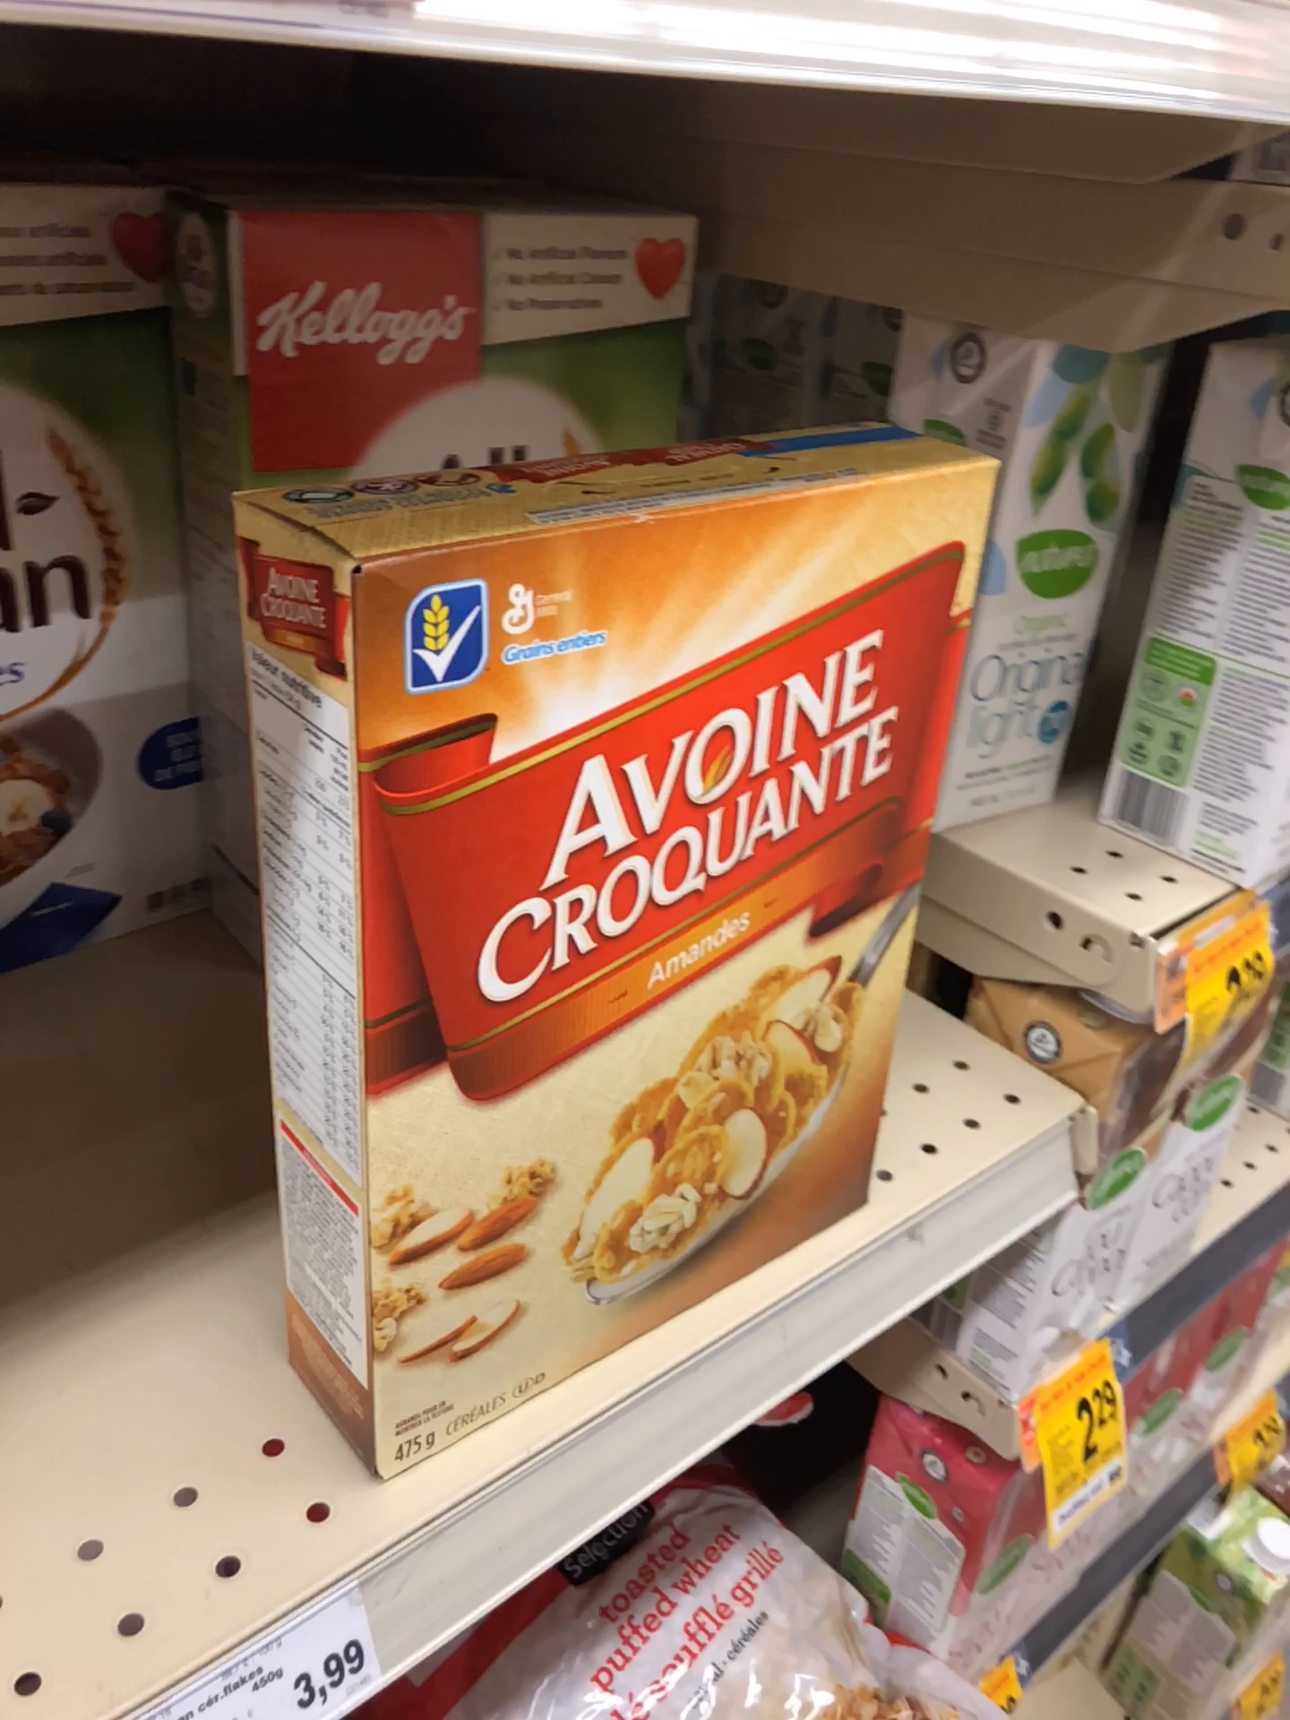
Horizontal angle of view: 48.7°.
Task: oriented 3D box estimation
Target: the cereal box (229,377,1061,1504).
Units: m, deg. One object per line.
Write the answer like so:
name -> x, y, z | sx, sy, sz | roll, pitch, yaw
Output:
cereal box -> 0.000, 0.017, 0.395 | 0.201, 0.268, 0.060 | -18, 36, -36
